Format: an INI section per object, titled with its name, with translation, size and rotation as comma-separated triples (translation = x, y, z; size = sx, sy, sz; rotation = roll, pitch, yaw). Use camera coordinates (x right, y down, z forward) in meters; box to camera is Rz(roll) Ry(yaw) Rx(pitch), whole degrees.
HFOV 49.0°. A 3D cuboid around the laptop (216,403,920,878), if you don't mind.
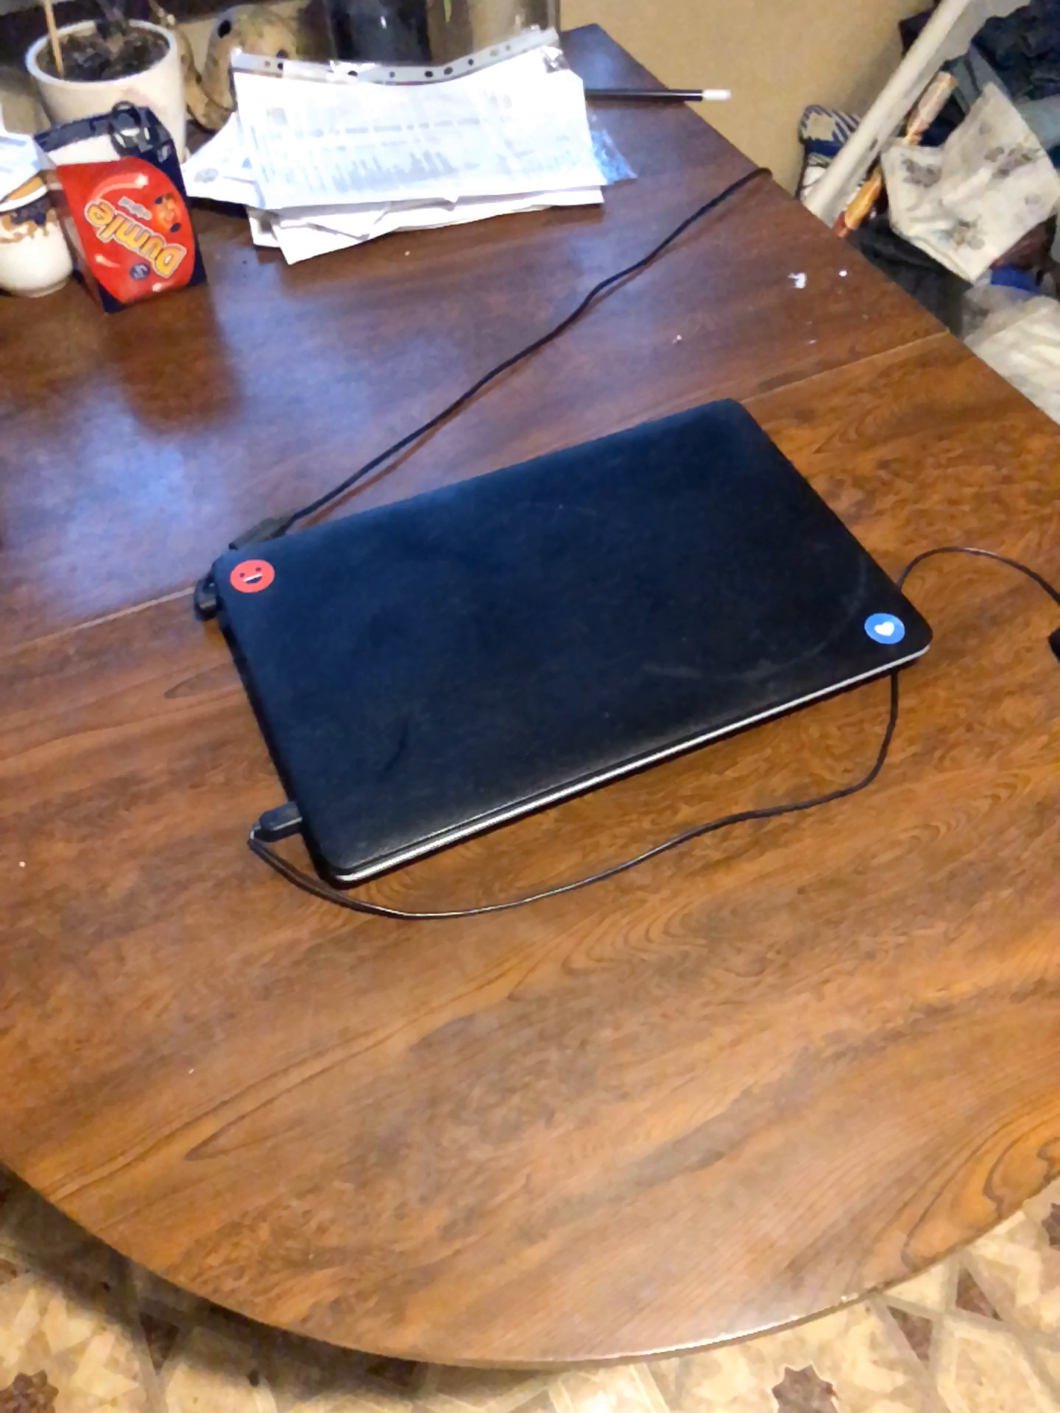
[laptop]
translation = 0.019, -0.063, 0.711
size = 0.366, 0.007, 0.239
rotation = -20, 57, -16
